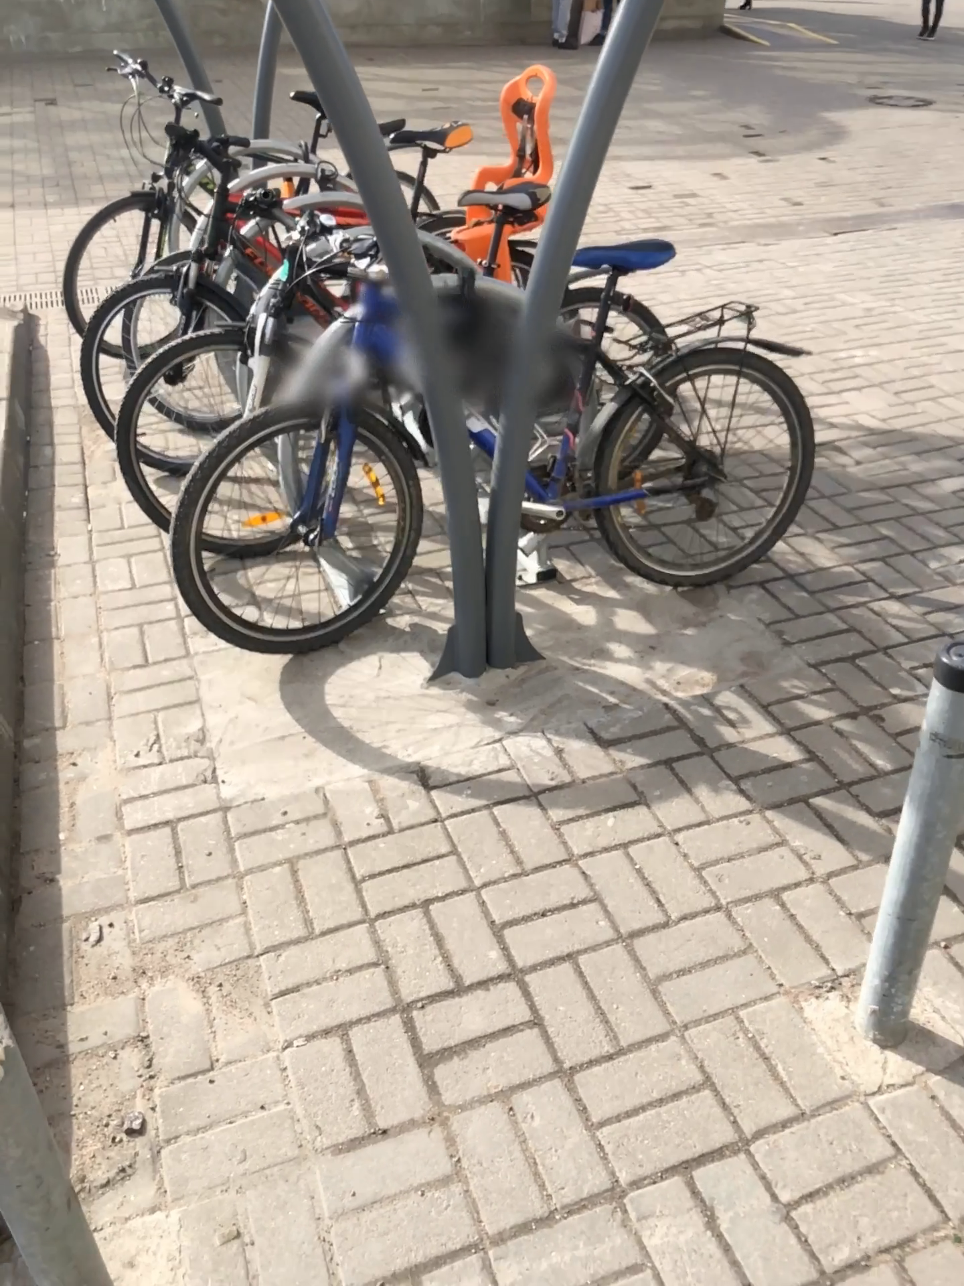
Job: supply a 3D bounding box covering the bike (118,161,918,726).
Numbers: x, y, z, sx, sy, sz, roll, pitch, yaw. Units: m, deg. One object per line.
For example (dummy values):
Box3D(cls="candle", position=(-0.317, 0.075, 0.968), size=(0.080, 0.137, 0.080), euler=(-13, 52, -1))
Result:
Box3D(cls="bike", position=(0.083, -0.543, 2.533), size=(1.660, 0.959, 0.629), euler=(-11, 36, -18))
